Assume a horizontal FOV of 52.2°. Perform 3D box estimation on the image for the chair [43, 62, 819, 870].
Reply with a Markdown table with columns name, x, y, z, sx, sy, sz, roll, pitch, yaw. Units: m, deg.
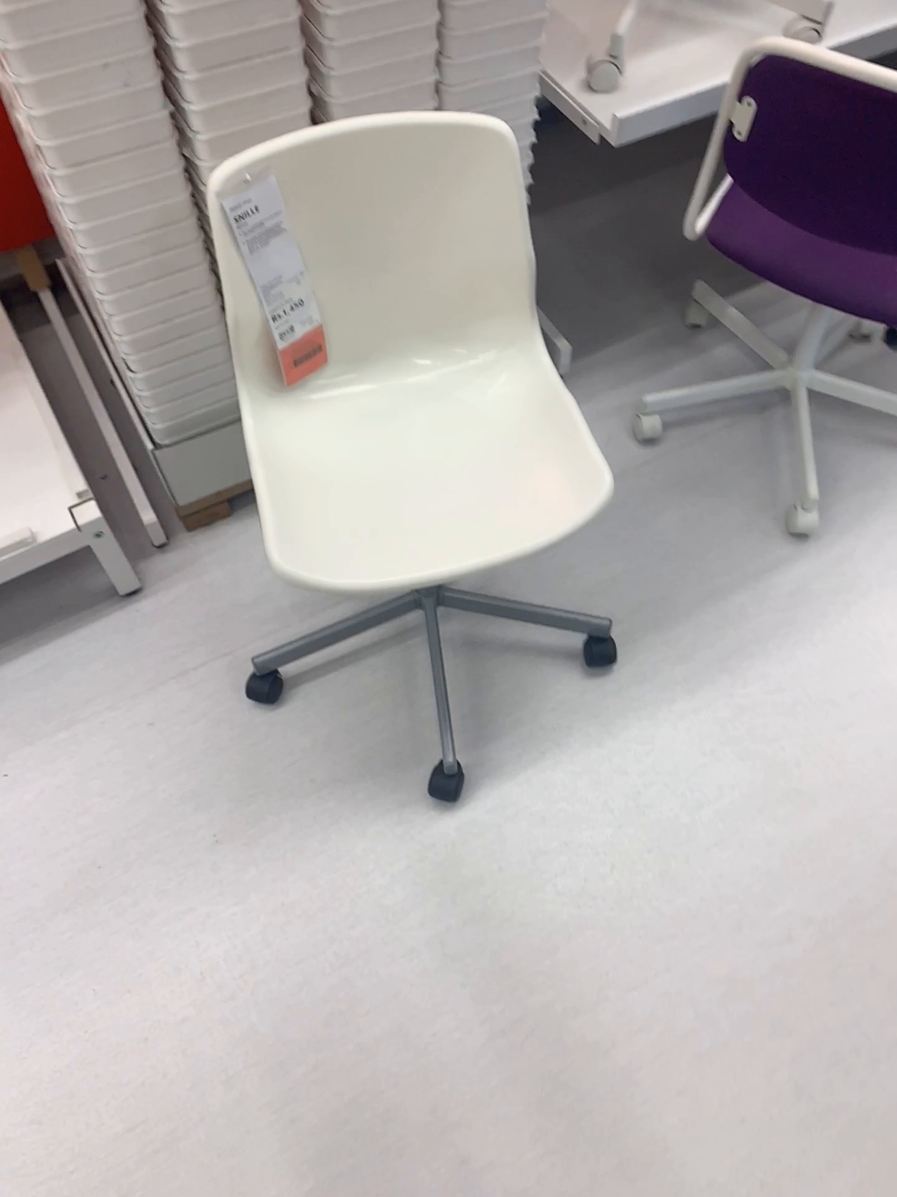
| name | x | y | z | sx | sy | sz | roll | pitch | yaw |
| --- | --- | --- | --- | --- | --- | --- | --- | --- | --- |
| chair | -0.064 | -0.153 | 1.261 | 0.640 | 0.688 | 0.682 | -17 | 59 | -9 |
